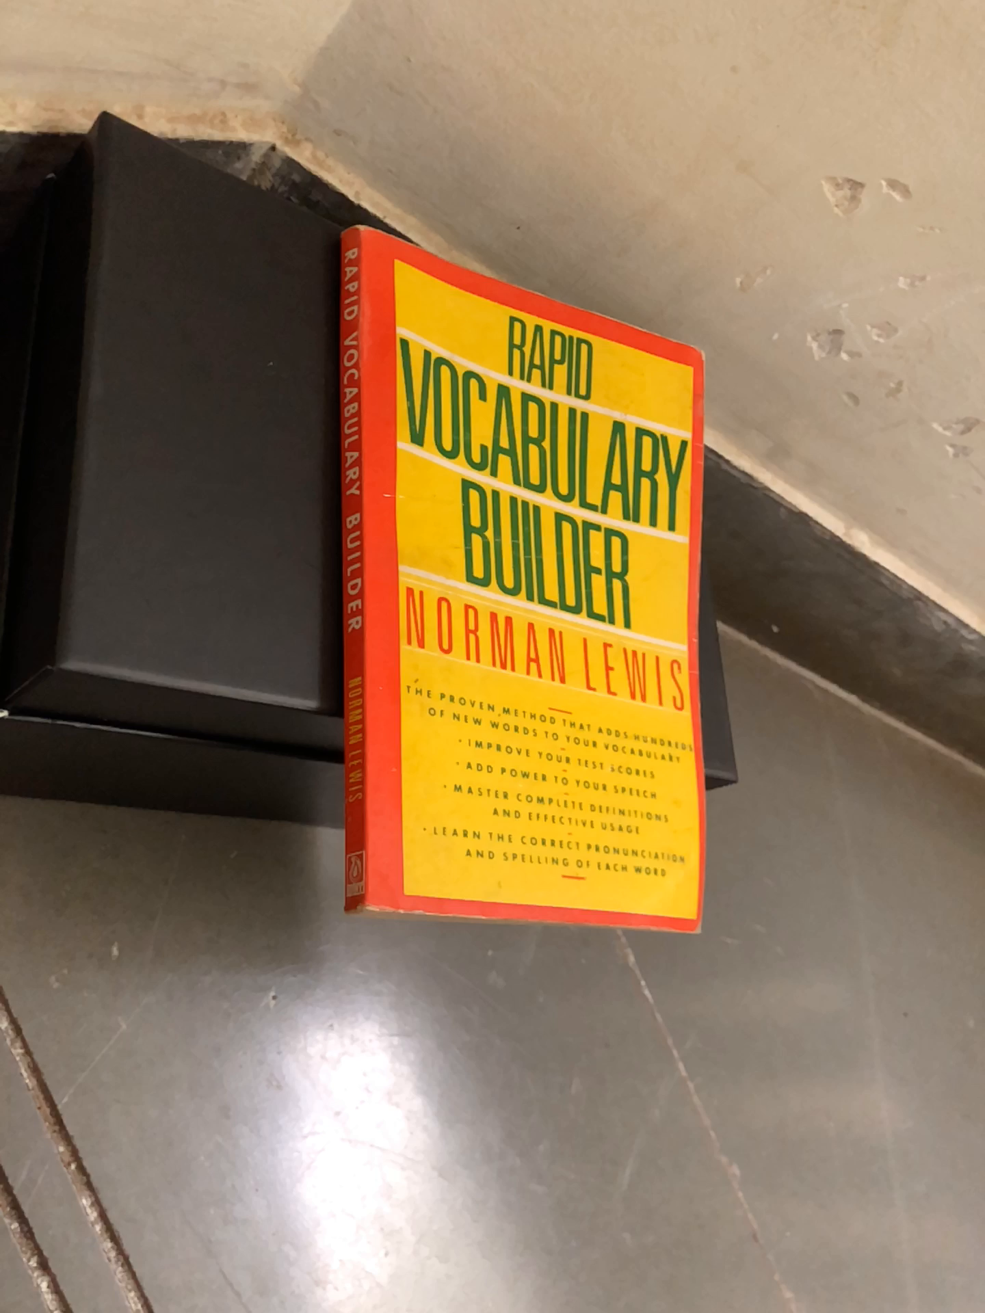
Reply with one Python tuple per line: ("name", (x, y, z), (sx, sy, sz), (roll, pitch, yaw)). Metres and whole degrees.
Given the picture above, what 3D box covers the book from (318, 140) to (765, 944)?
("book", (0.017, -0.032, 0.347), (0.141, 0.030, 0.230), (16, 63, -37))
